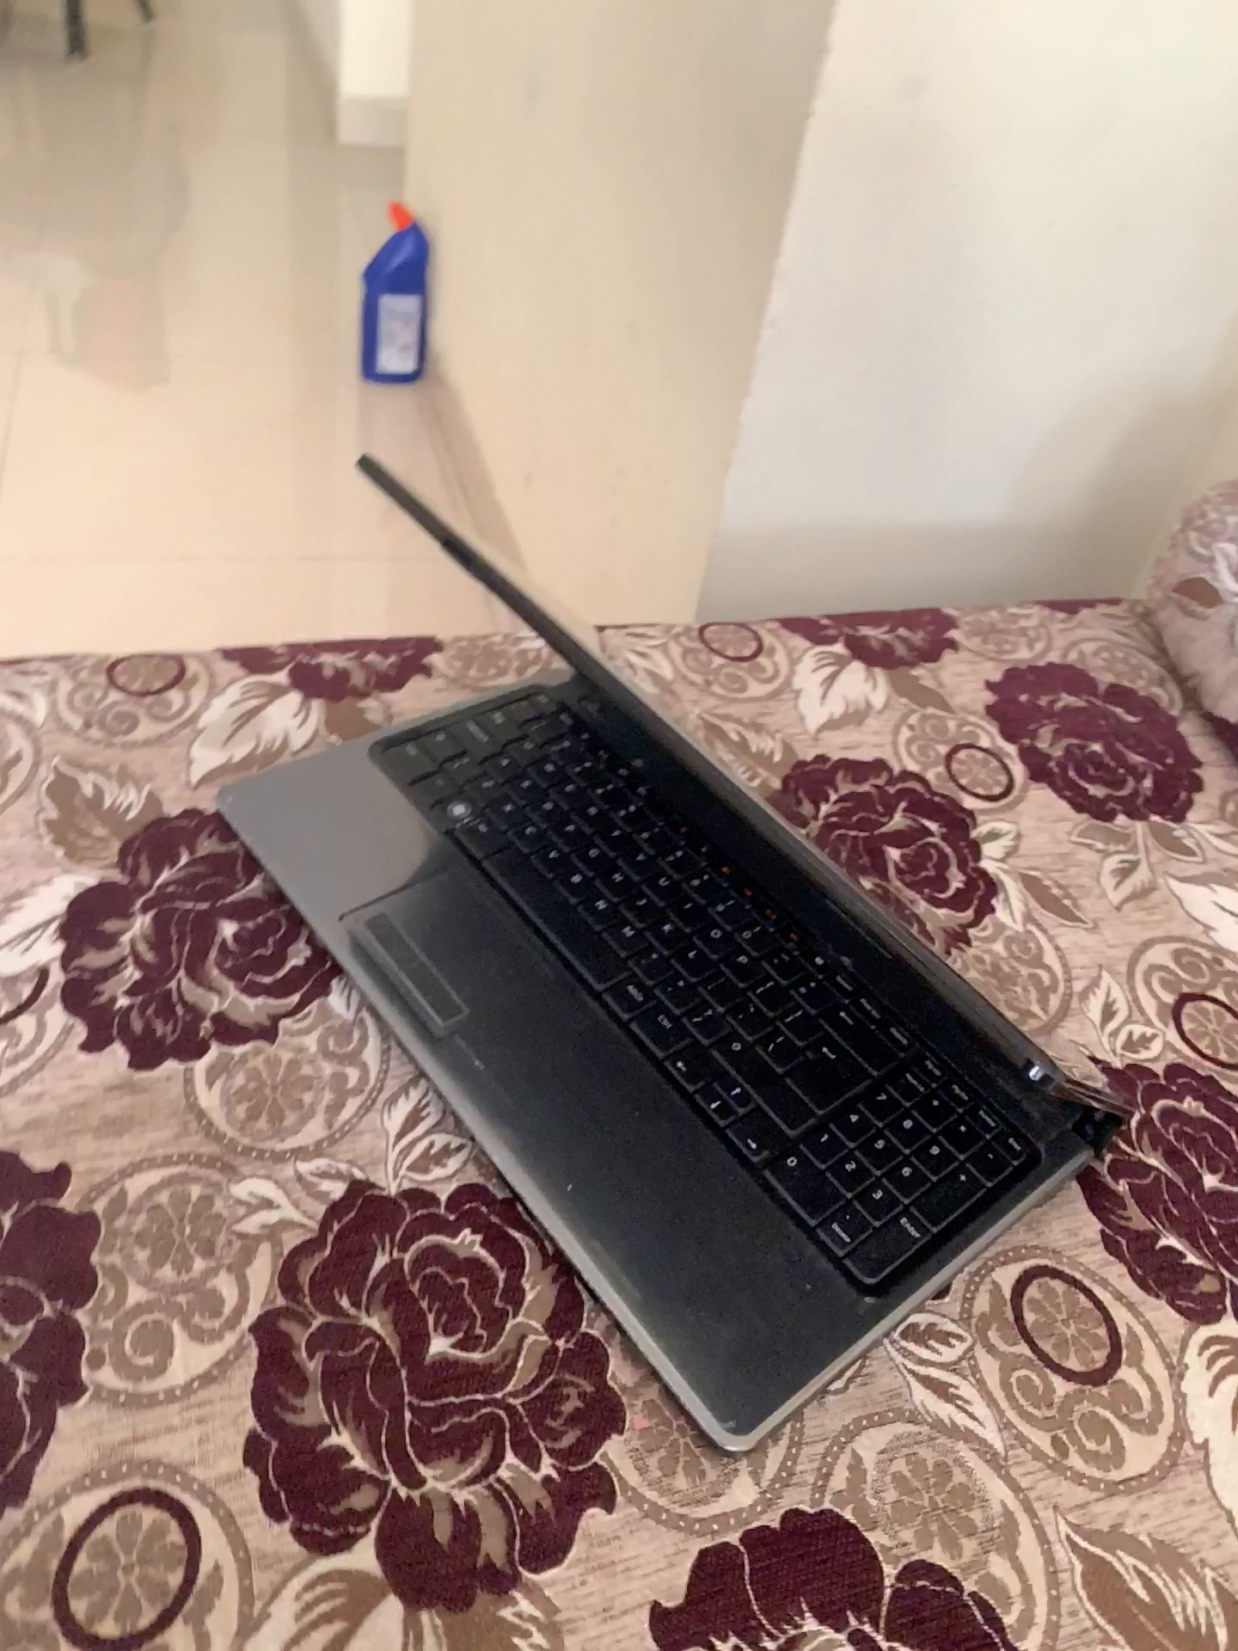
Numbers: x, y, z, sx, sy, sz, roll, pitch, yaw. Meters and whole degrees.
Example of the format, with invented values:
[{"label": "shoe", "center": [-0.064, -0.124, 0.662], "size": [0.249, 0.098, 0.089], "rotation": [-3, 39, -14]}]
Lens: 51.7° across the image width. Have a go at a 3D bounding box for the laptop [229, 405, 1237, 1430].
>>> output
[{"label": "laptop", "center": [0.027, -0.004, 0.529], "size": [0.221, 0.154, 0.365], "rotation": [-23, 52, -33]}]
